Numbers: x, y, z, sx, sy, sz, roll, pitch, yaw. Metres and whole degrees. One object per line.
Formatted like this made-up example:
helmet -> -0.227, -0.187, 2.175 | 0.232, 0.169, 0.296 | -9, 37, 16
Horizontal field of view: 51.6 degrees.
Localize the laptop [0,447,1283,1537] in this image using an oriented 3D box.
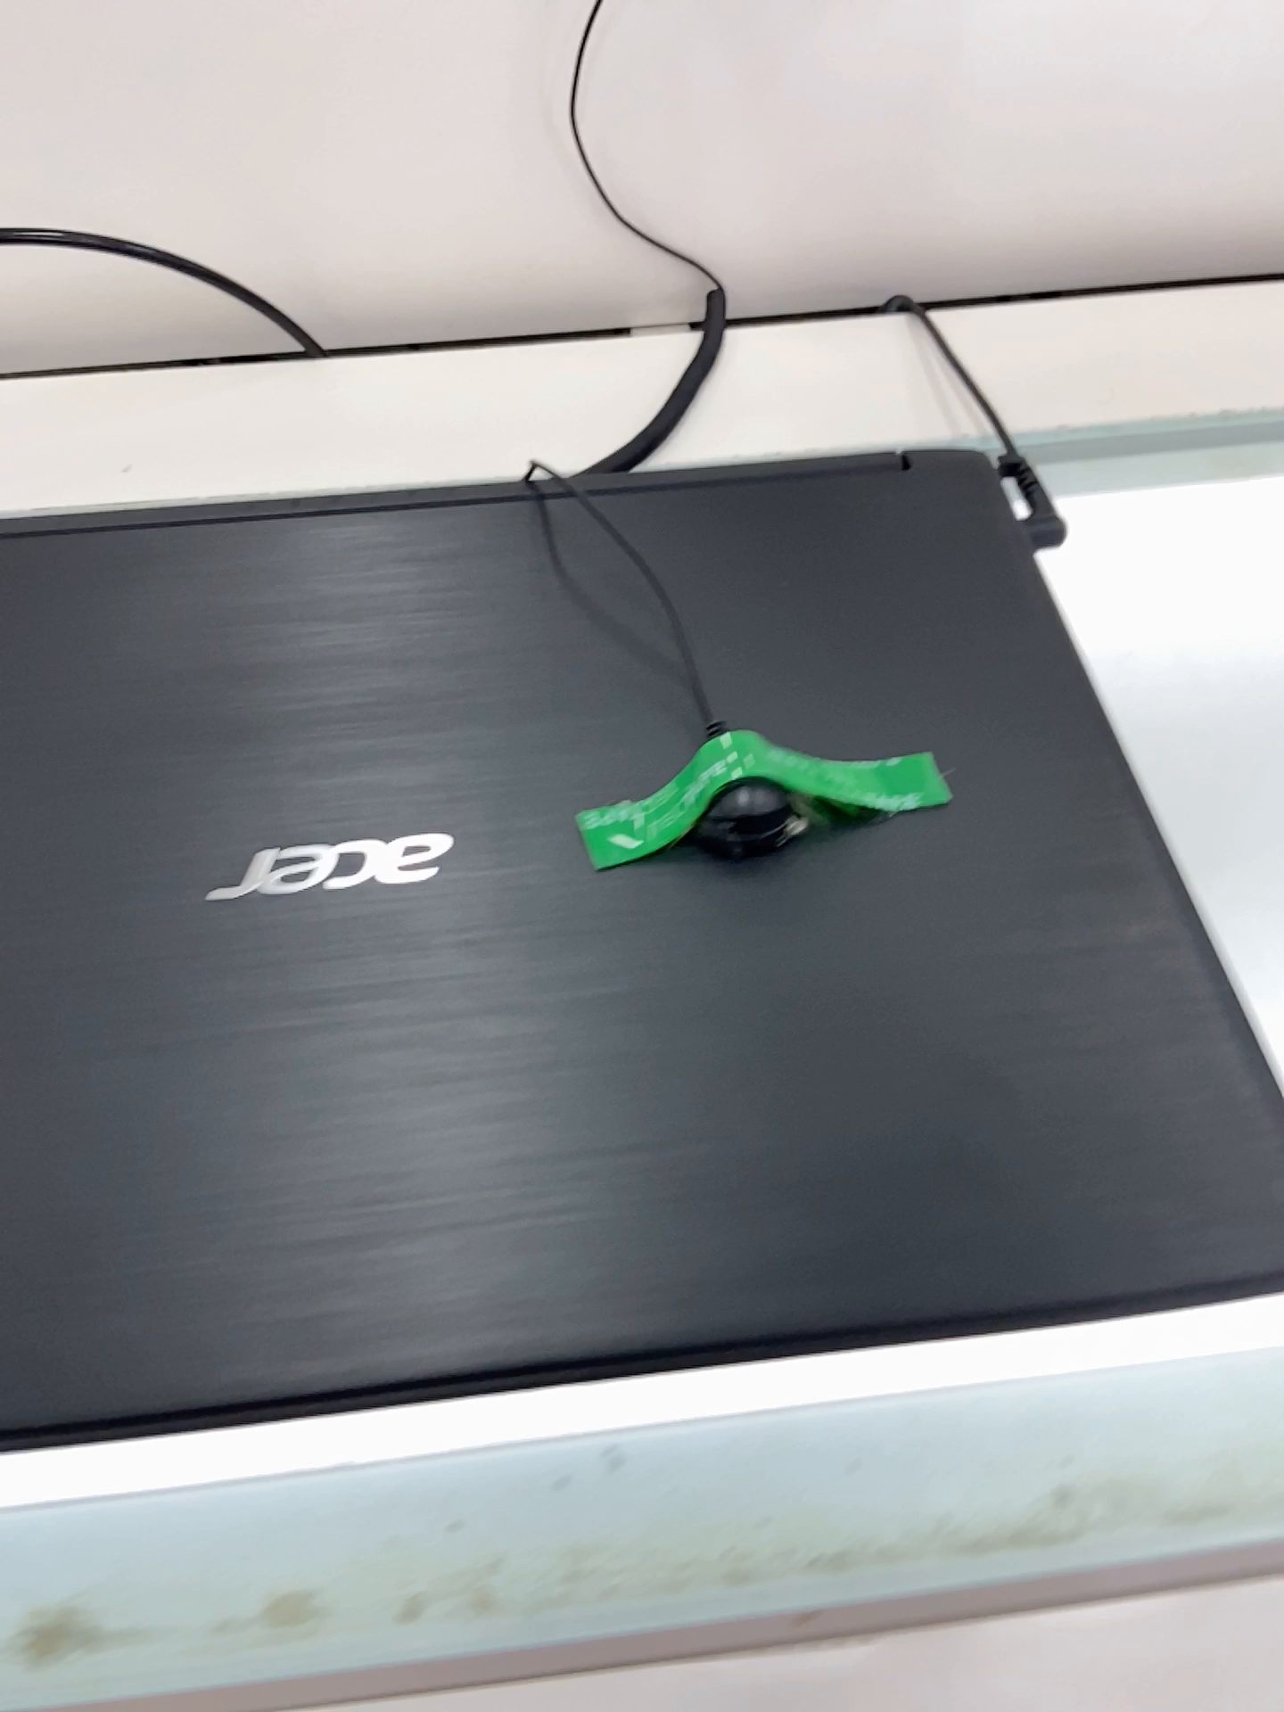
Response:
laptop -> -0.068, -0.005, 0.307 | 0.386, 0.001, 0.248 | -6, 52, -3
